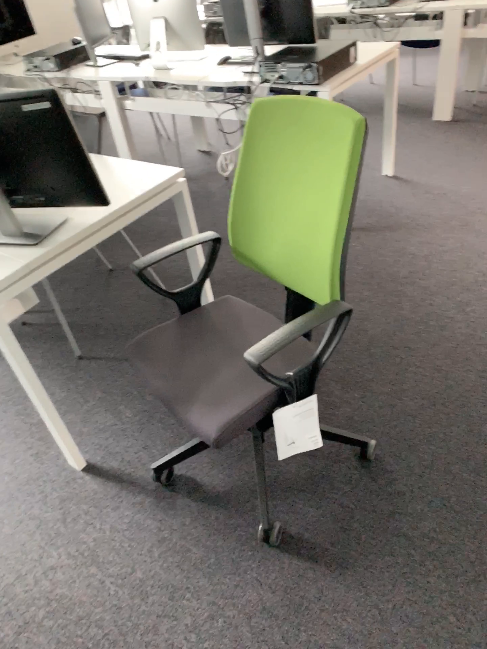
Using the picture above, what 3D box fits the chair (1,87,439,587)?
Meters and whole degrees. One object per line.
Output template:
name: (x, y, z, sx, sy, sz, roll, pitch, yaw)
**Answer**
chair: (0.001, 0.012, 1.419, 0.762, 1.044, 0.622, -32, 44, -26)
